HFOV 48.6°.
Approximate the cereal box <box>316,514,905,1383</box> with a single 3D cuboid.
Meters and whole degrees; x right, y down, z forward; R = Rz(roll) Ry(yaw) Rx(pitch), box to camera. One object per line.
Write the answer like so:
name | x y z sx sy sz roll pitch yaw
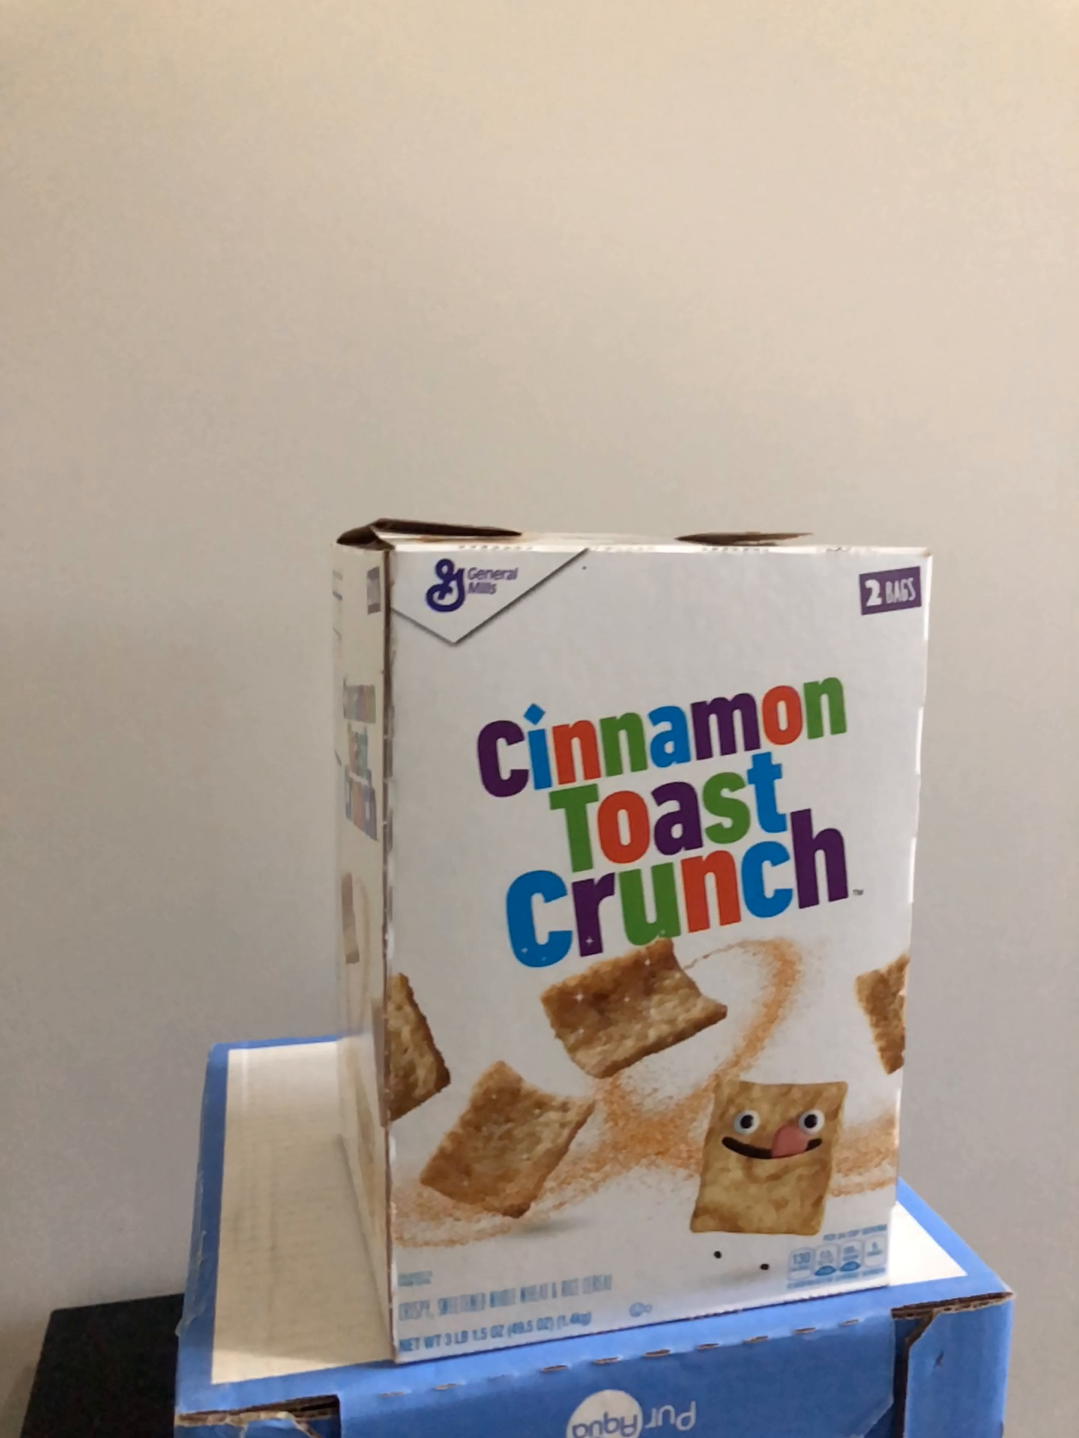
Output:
cereal box | 0.015 0.071 0.518 0.200 0.310 0.170 -2 8 -15
